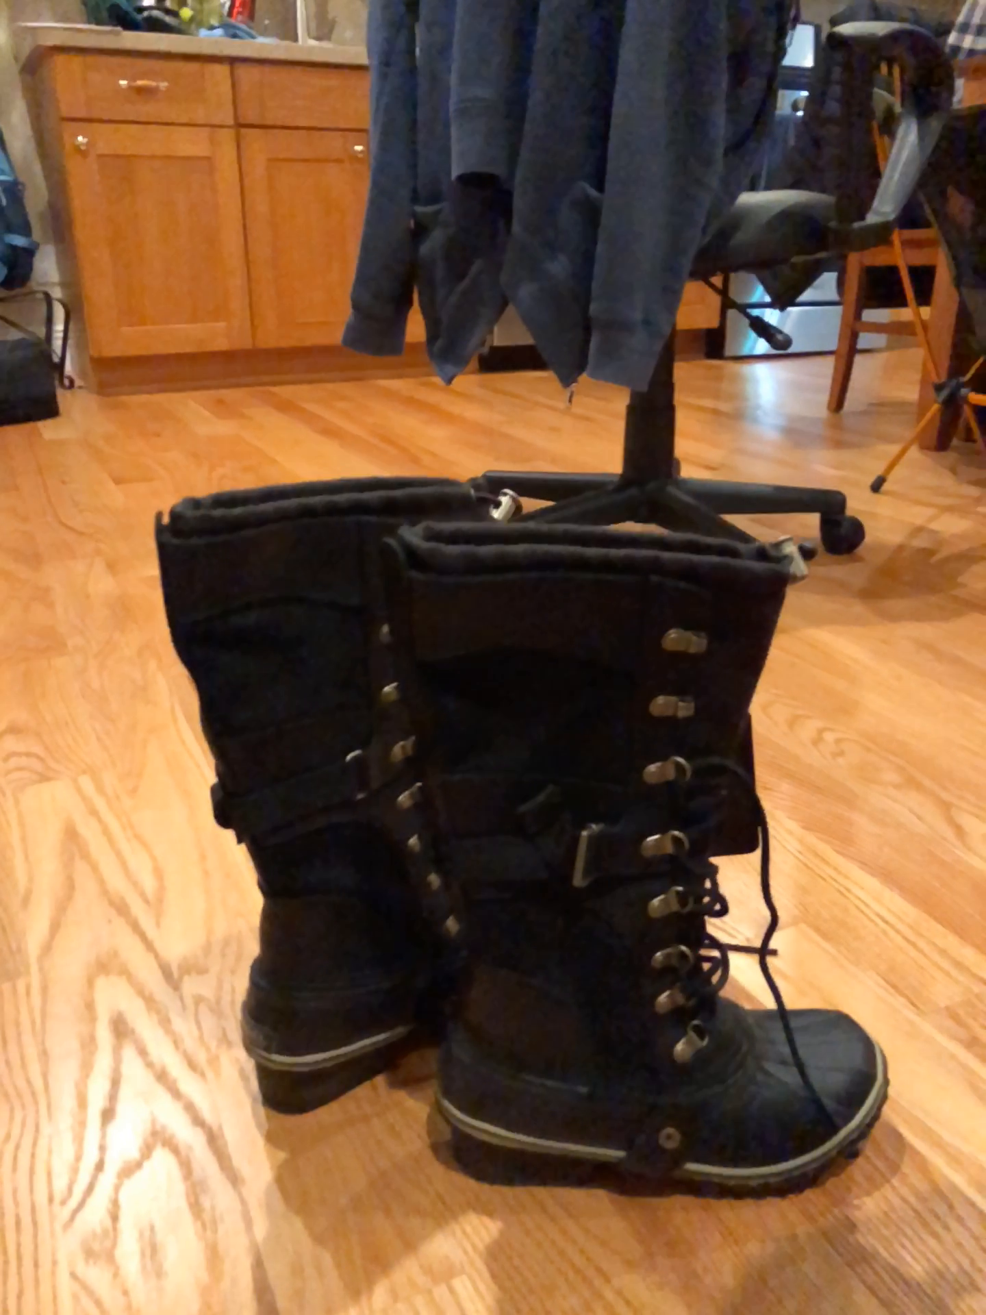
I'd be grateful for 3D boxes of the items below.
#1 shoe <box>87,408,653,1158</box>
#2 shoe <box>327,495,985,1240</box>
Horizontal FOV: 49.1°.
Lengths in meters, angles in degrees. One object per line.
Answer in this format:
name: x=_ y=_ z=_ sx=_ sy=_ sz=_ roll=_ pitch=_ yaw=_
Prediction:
shoe: x=-0.050 y=0.050 z=0.586 sx=0.261 sy=0.328 sz=0.100 roll=-16 pitch=26 yaw=-34
shoe: x=0.065 y=0.094 z=0.503 sx=0.260 sy=0.308 sz=0.100 roll=-4 pitch=21 yaw=-10
